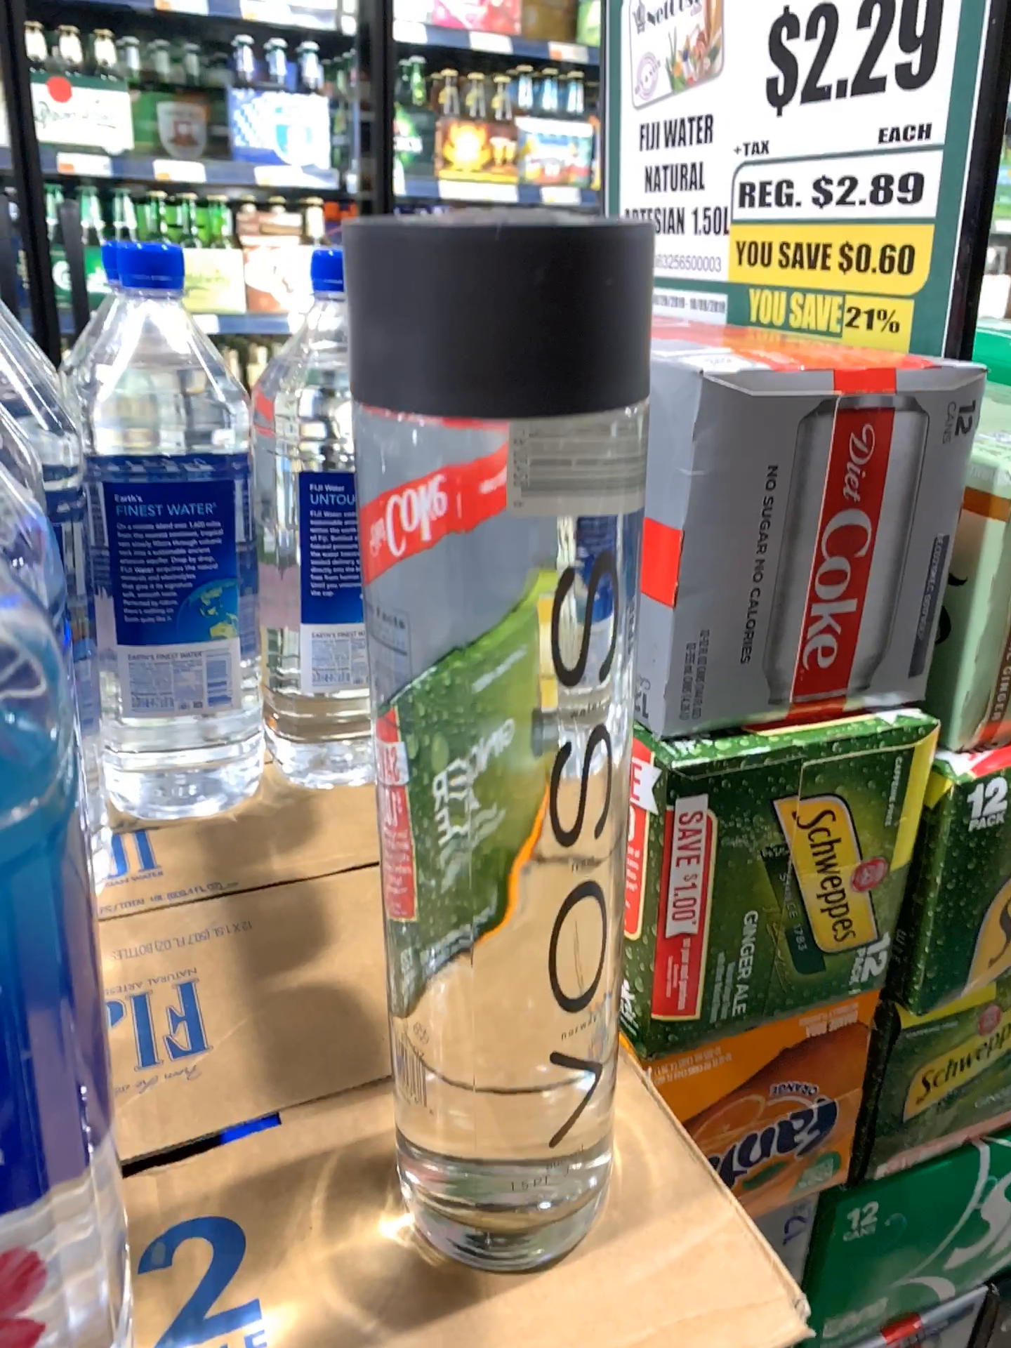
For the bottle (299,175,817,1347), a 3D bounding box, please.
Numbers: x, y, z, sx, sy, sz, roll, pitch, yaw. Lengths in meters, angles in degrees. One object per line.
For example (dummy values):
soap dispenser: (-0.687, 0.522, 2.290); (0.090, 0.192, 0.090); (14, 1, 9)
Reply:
bottle: (0.003, 0.030, 0.276); (0.080, 0.288, 0.080); (1, 23, -1)
